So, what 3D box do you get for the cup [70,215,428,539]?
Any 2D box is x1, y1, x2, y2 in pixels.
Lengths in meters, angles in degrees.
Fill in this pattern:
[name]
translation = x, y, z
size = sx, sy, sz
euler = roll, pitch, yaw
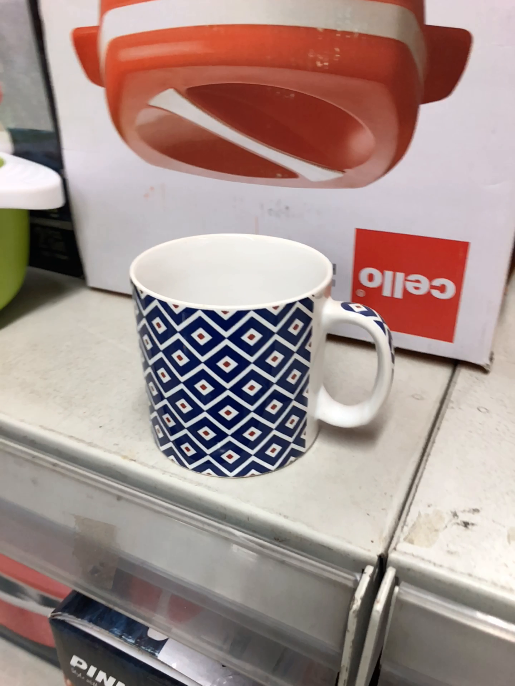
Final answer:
[cup]
translation = 0.000, 0.004, 0.235
size = 0.110, 0.079, 0.081
euler = 13, 31, 23
